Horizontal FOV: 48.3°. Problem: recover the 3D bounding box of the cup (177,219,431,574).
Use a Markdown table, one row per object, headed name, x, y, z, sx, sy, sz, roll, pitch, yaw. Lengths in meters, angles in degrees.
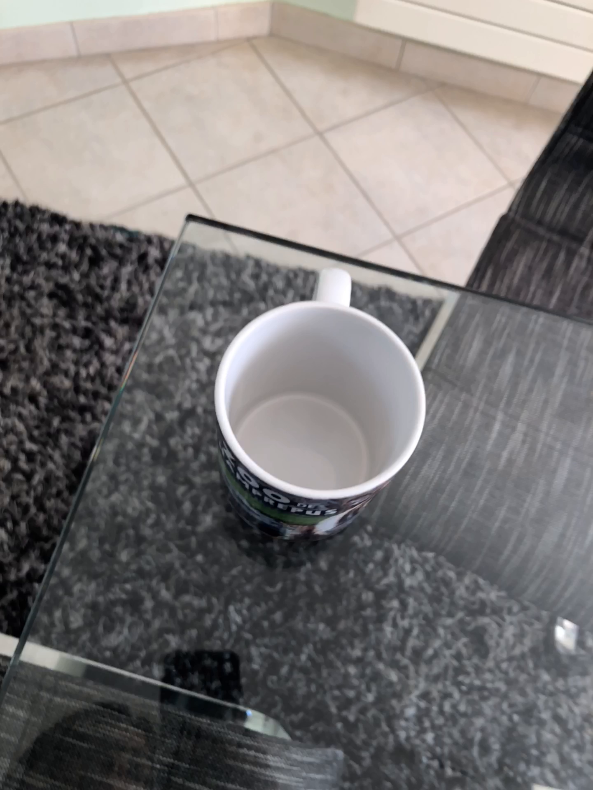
| name | x | y | z | sx | sy | sz | roll | pitch | yaw |
| --- | --- | --- | --- | --- | --- | --- | --- | --- | --- |
| cup | 0.003 | 0.006 | 0.291 | 0.080 | 0.090 | 0.120 | 10 | 67 | -2 |
